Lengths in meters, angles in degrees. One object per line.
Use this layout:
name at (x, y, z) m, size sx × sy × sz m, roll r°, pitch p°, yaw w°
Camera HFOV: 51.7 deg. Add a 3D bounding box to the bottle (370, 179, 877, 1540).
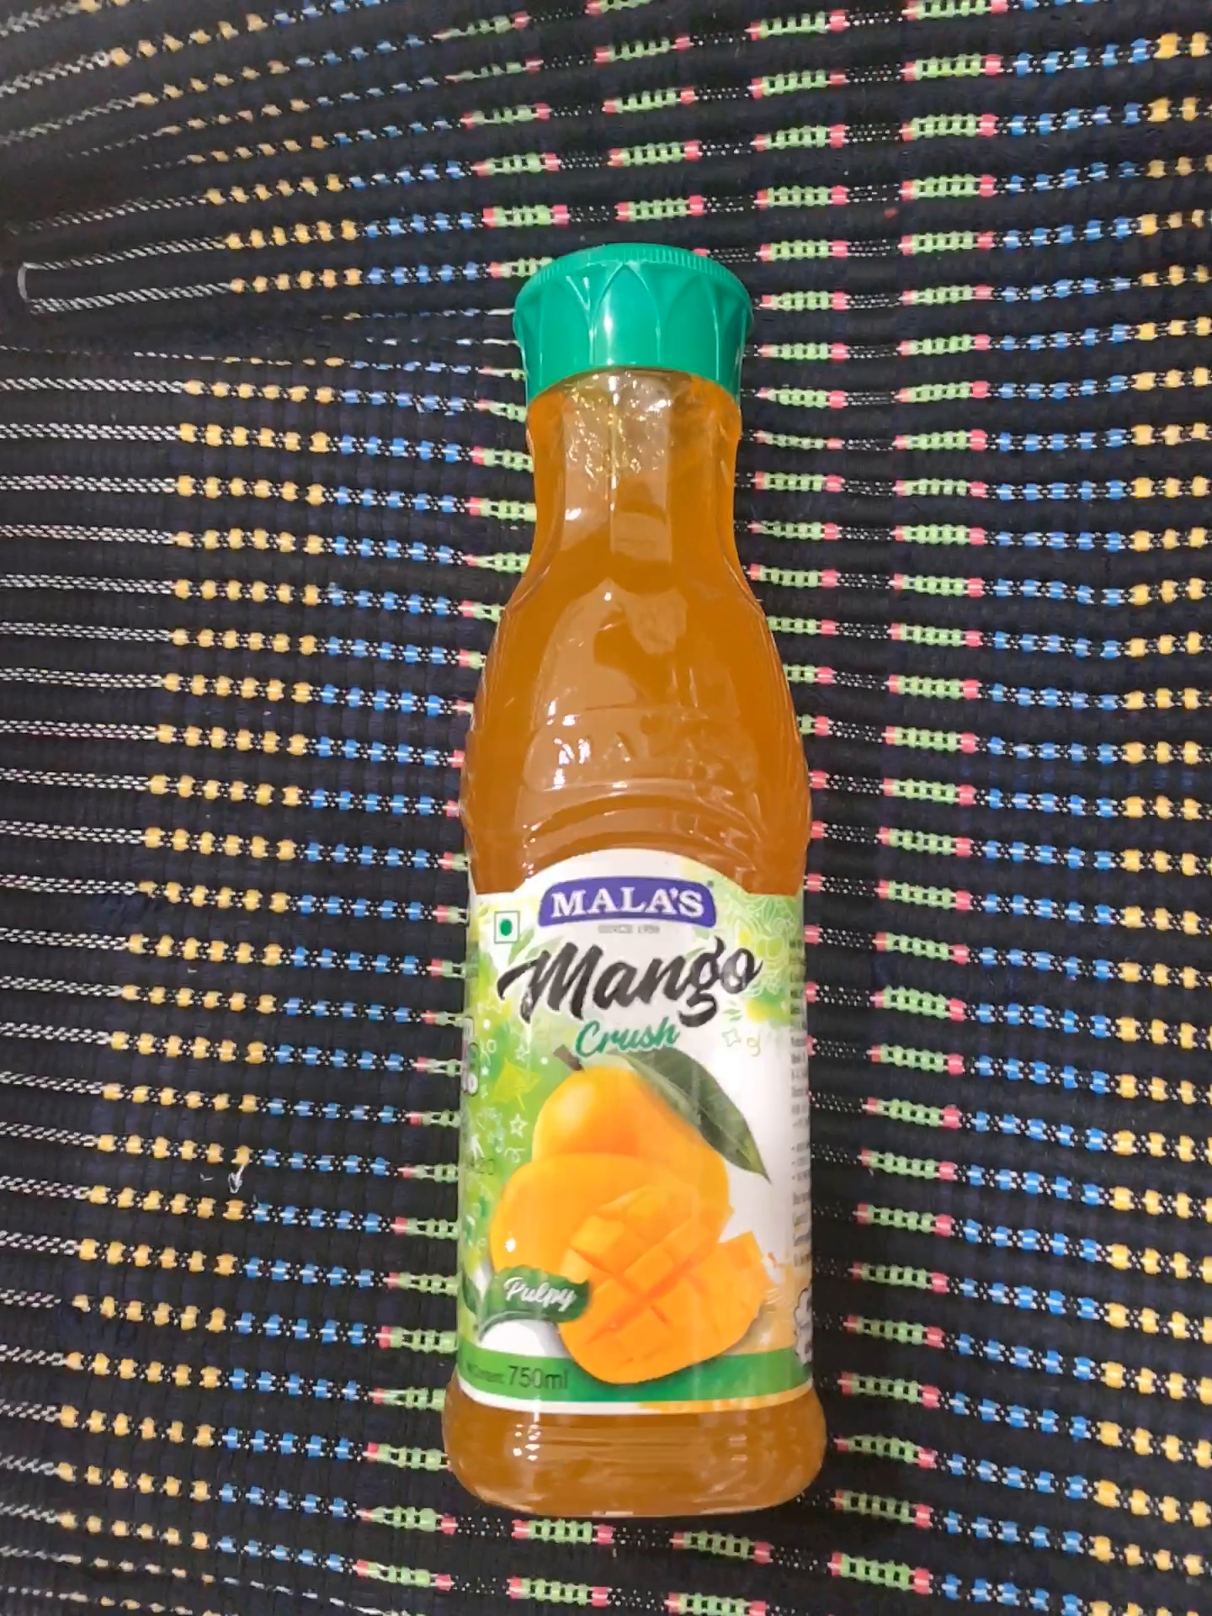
bottle at (0.004, 0.005, 0.264) m, size 0.080 × 0.090 × 0.240 m, roll 1°, pitch 79°, yaw 0°
